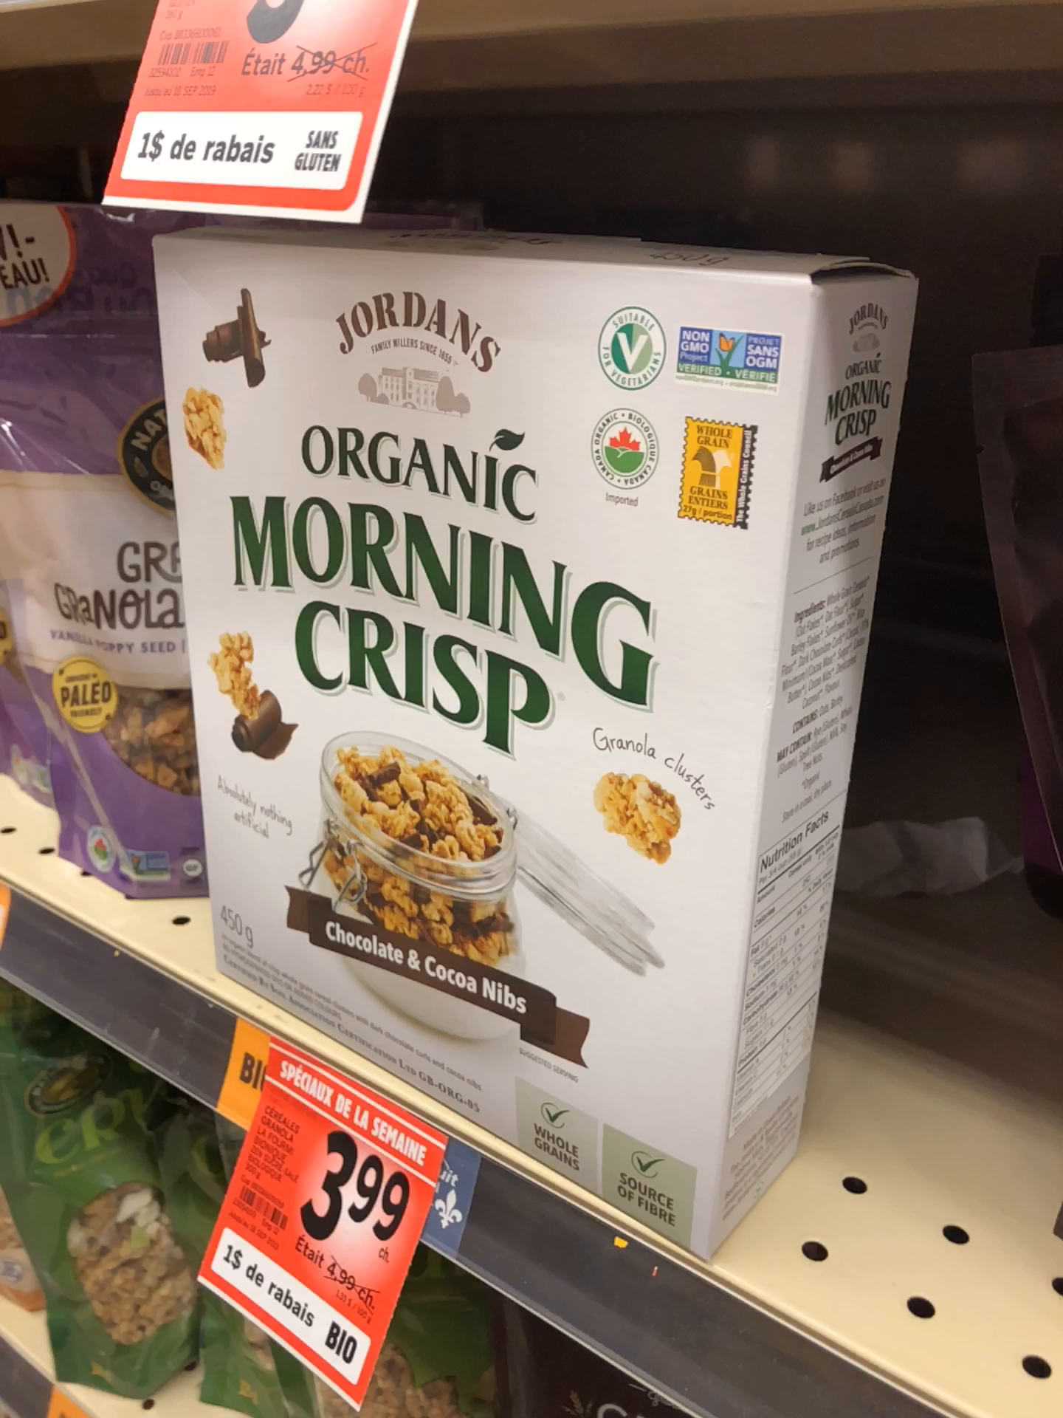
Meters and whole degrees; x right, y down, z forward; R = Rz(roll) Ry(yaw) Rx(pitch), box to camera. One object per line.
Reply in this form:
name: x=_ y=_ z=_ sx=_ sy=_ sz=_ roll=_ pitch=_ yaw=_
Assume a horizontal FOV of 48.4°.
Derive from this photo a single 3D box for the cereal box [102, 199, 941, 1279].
cereal box: x=-0.016 y=-0.006 z=0.282 sx=0.181 sy=0.209 sz=0.050 roll=18 pitch=28 yaw=34
